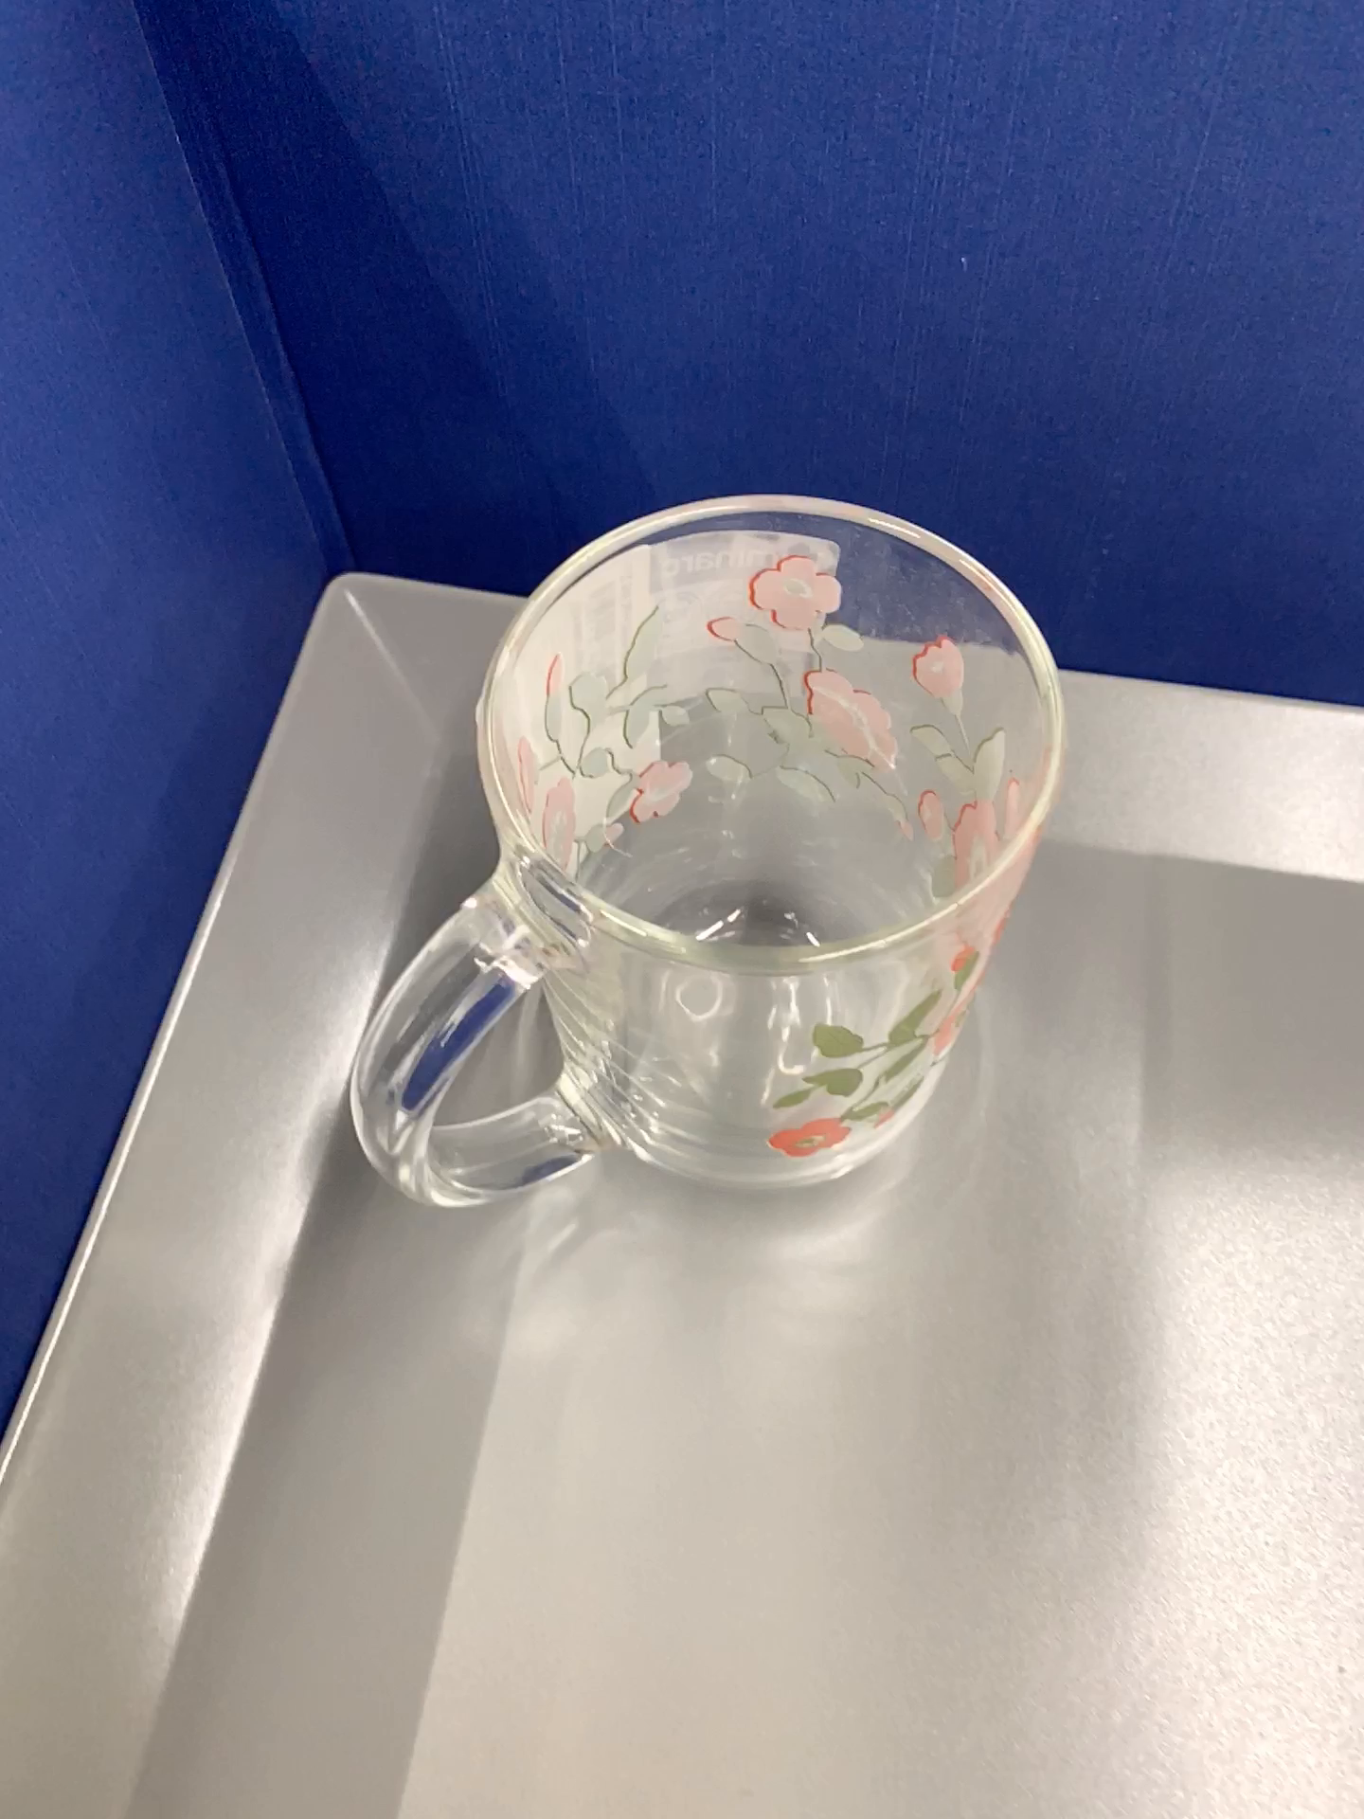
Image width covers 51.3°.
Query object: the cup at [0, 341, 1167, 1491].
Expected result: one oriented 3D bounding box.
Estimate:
[{"bbox_3d":[-0.010,0.004,0.217,0.115,0.104,0.088,-40,65,-20],"label":"cup"}]
